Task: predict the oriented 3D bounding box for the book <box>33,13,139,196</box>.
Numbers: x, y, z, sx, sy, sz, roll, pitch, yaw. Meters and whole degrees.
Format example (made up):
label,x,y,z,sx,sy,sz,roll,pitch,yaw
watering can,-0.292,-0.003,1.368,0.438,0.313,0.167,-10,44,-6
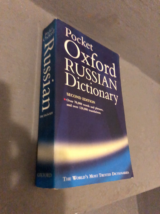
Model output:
label,x,y,z,sx,sy,sz,roll,pitch,yaw
book,0.014,-0.001,0.236,0.138,0.032,0.195,14,66,-40
